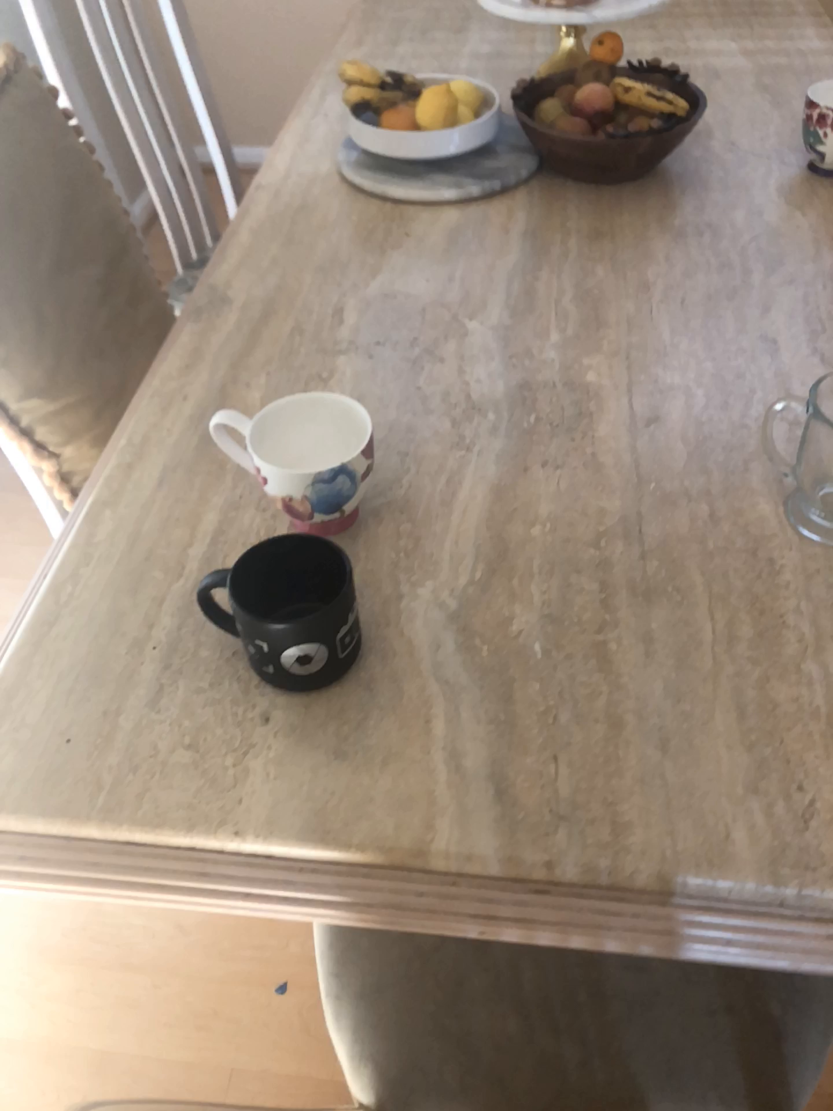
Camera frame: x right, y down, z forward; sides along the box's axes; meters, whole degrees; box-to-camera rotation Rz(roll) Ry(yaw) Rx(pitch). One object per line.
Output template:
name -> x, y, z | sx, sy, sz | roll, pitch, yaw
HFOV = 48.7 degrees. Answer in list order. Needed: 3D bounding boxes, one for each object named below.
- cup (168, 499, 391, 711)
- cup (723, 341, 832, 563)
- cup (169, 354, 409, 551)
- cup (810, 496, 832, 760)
cup -> -0.100, 0.038, 0.715 | 0.130, 0.109, 0.091 | 12, 48, 15
cup -> 0.354, -0.089, 0.768 | 0.150, 0.109, 0.111 | 16, 49, 19
cup -> -0.107, -0.093, 0.812 | 0.170, 0.099, 0.101 | 15, 49, 18
cup -> 0.368, 0.050, 0.671 | 0.090, 0.109, 0.131 | 24, 52, 25
